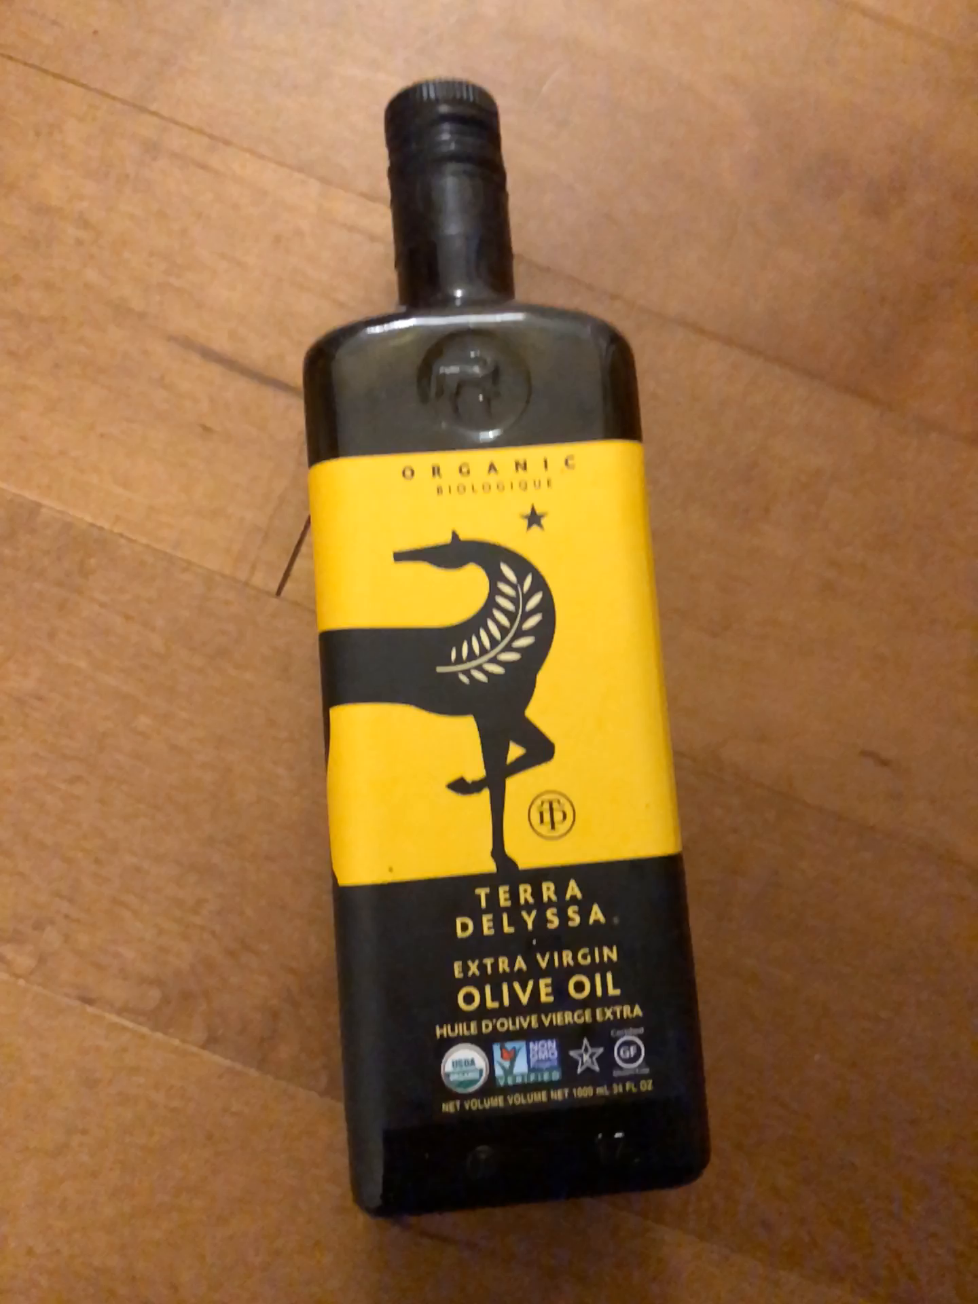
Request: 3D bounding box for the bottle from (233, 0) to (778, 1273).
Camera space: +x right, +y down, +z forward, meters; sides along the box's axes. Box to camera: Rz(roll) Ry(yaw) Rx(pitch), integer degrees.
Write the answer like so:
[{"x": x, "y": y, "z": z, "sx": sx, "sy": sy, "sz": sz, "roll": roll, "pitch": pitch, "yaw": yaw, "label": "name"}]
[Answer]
[{"x": -0.001, "y": -0.014, "z": 0.258, "sx": 0.090, "sy": 0.060, "sz": 0.270, "roll": -5, "pitch": 83, "yaw": -4, "label": "bottle"}]
